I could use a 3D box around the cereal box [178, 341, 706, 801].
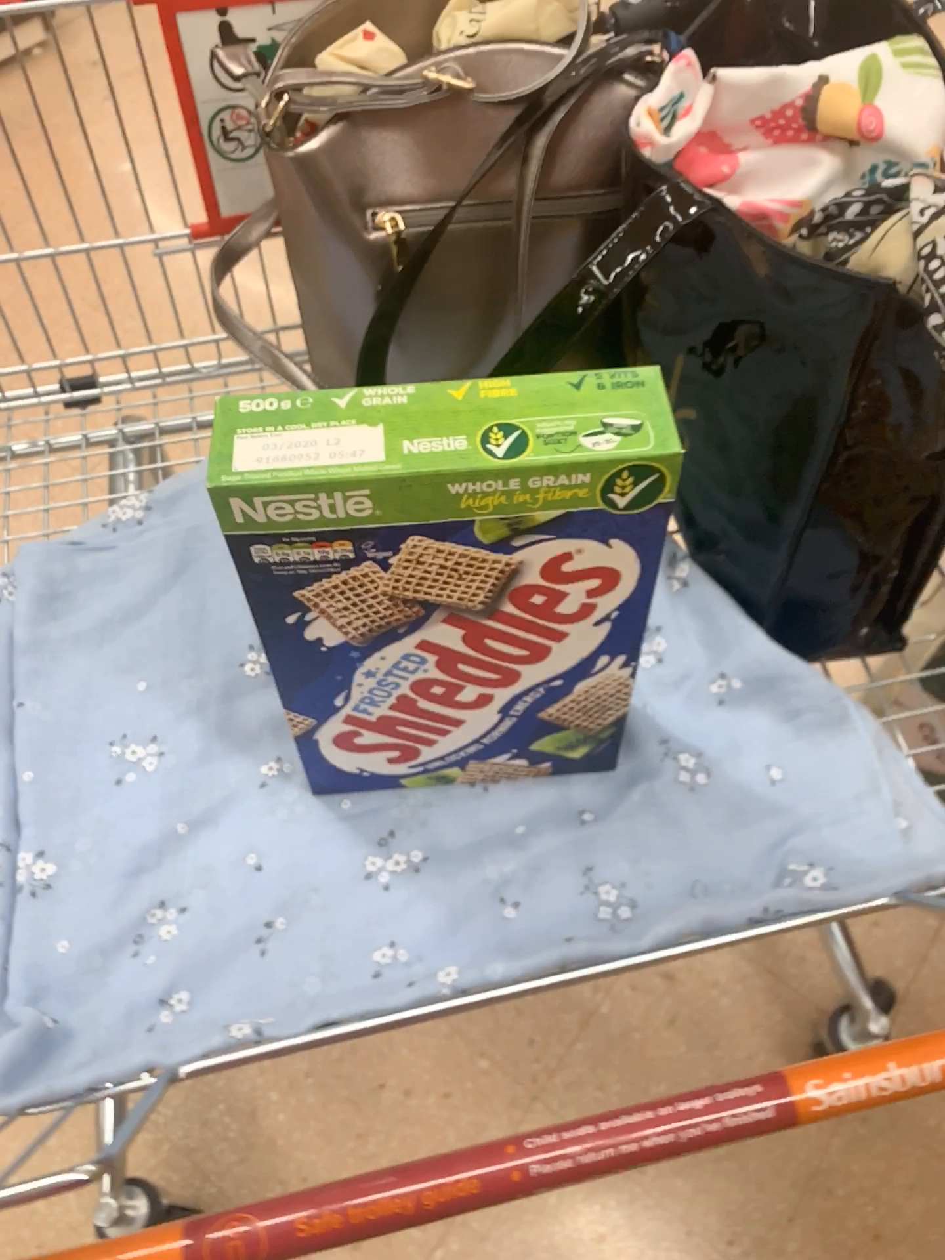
[{"bbox_3d":[-0.015,-0.008,0.504,0.200,0.288,0.060,-4,56,-4],"label":"cereal box"}]
